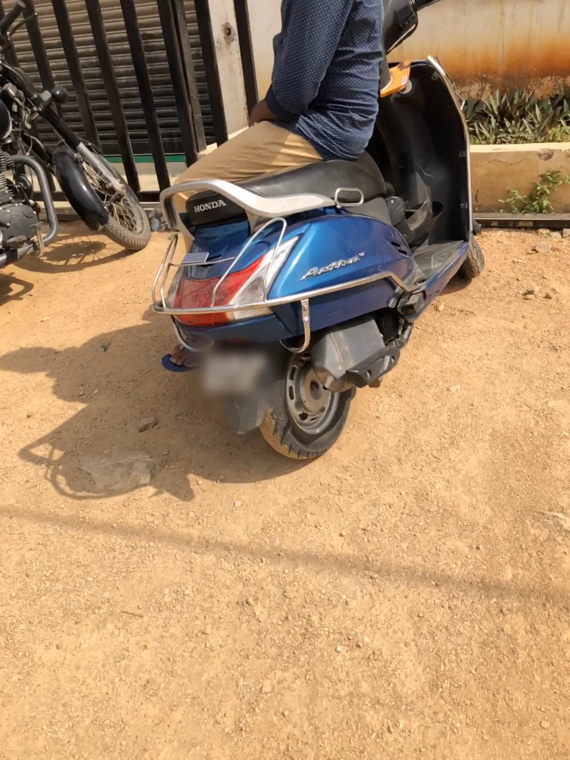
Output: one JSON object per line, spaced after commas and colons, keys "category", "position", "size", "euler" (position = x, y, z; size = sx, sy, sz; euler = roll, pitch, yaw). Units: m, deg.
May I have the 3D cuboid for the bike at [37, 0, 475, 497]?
{"category": "bike", "position": [0.118, -0.659, 2.048], "size": [0.621, 1.115, 1.558], "euler": [10, 37, 25]}
